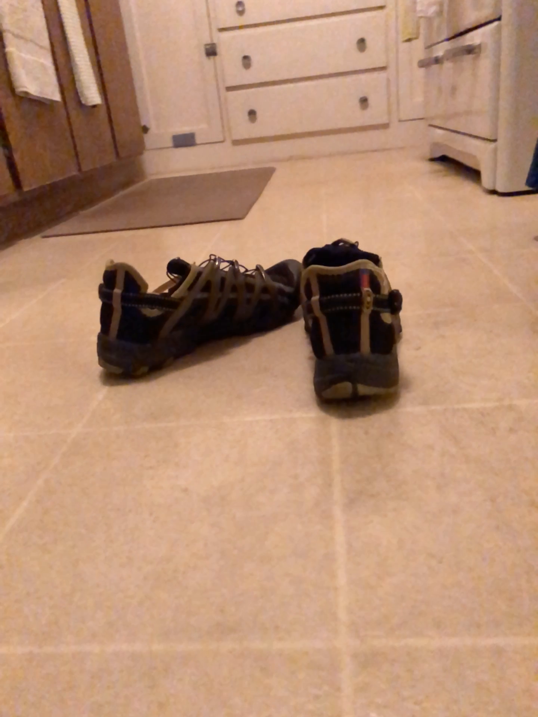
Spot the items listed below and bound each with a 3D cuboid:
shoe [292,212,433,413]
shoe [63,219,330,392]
[{"bbox_3d":[0.084,-0.067,0.617,0.109,0.111,0.288,-5,23,4],"label":"shoe"},{"bbox_3d":[-0.071,-0.074,0.679,0.280,0.109,0.100,-22,27,-32],"label":"shoe"}]
